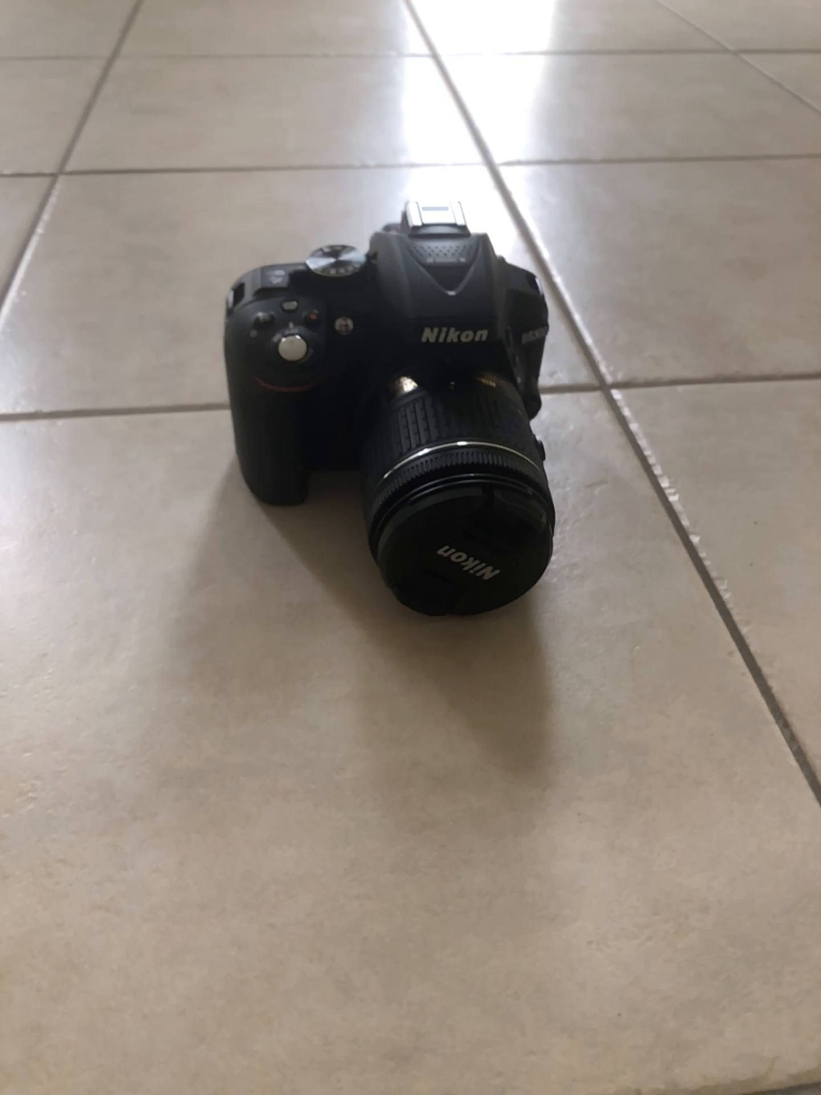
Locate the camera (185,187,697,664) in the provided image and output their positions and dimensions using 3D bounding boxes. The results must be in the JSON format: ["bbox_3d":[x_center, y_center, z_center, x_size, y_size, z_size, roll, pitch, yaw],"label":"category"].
[{"bbox_3d":[0.001,-0.053,0.336,0.140,0.089,0.161,-3,44,-5],"label":"camera"}]
